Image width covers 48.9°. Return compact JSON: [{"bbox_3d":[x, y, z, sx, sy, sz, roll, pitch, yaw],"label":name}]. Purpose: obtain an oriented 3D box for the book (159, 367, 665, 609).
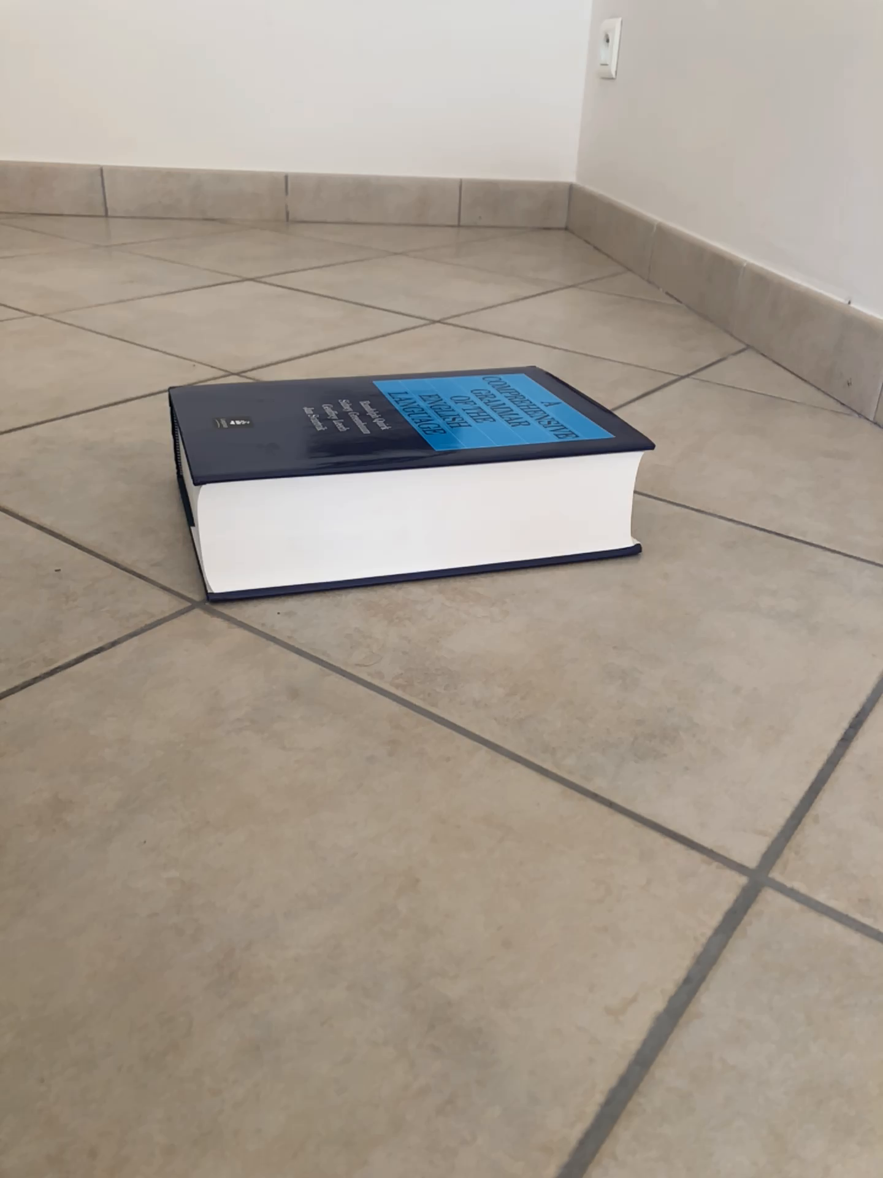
[{"bbox_3d":[-0.028,-0.073,0.586,0.257,0.066,0.181,-7,28,-18],"label":"book"}]
